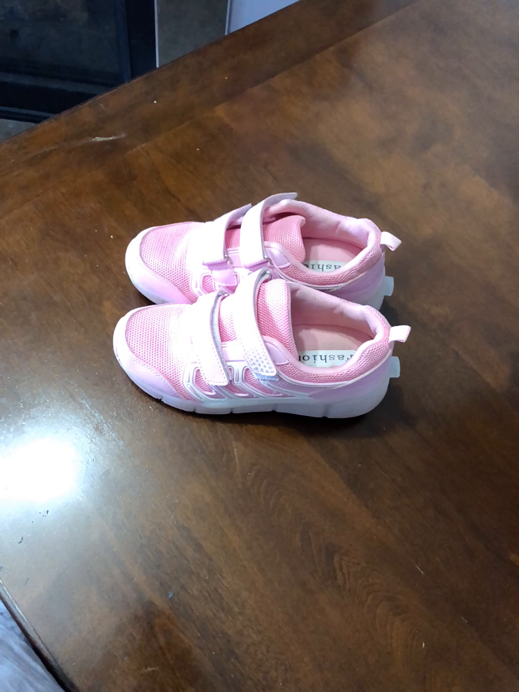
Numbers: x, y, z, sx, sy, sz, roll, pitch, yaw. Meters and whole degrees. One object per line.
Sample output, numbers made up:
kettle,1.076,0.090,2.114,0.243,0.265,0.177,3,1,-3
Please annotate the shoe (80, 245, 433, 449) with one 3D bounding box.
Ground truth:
shoe,-0.002,0.008,0.493,0.260,0.110,0.110,7,65,-5

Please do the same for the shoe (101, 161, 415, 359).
shoe,-0.002,-0.072,0.524,0.250,0.110,0.100,8,64,-5
